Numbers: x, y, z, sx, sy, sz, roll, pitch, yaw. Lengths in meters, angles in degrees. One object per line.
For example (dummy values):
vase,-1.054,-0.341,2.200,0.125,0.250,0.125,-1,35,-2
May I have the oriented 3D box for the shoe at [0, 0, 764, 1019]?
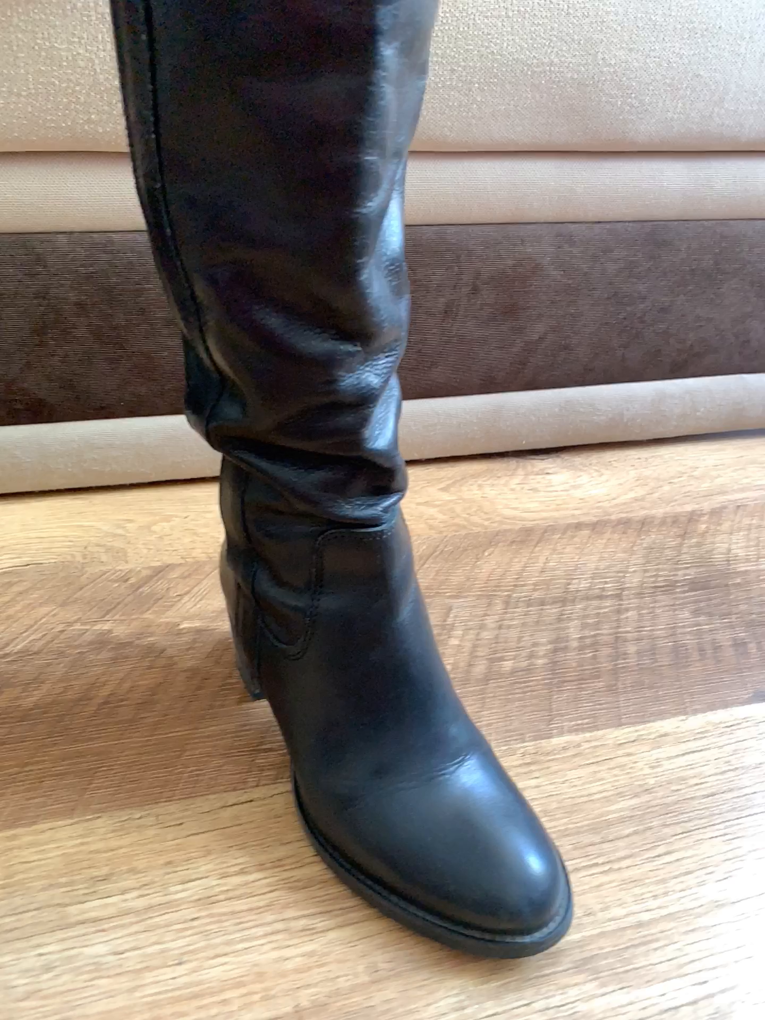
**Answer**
shoe,0.000,-0.090,0.227,0.100,0.497,0.211,-21,39,-32
